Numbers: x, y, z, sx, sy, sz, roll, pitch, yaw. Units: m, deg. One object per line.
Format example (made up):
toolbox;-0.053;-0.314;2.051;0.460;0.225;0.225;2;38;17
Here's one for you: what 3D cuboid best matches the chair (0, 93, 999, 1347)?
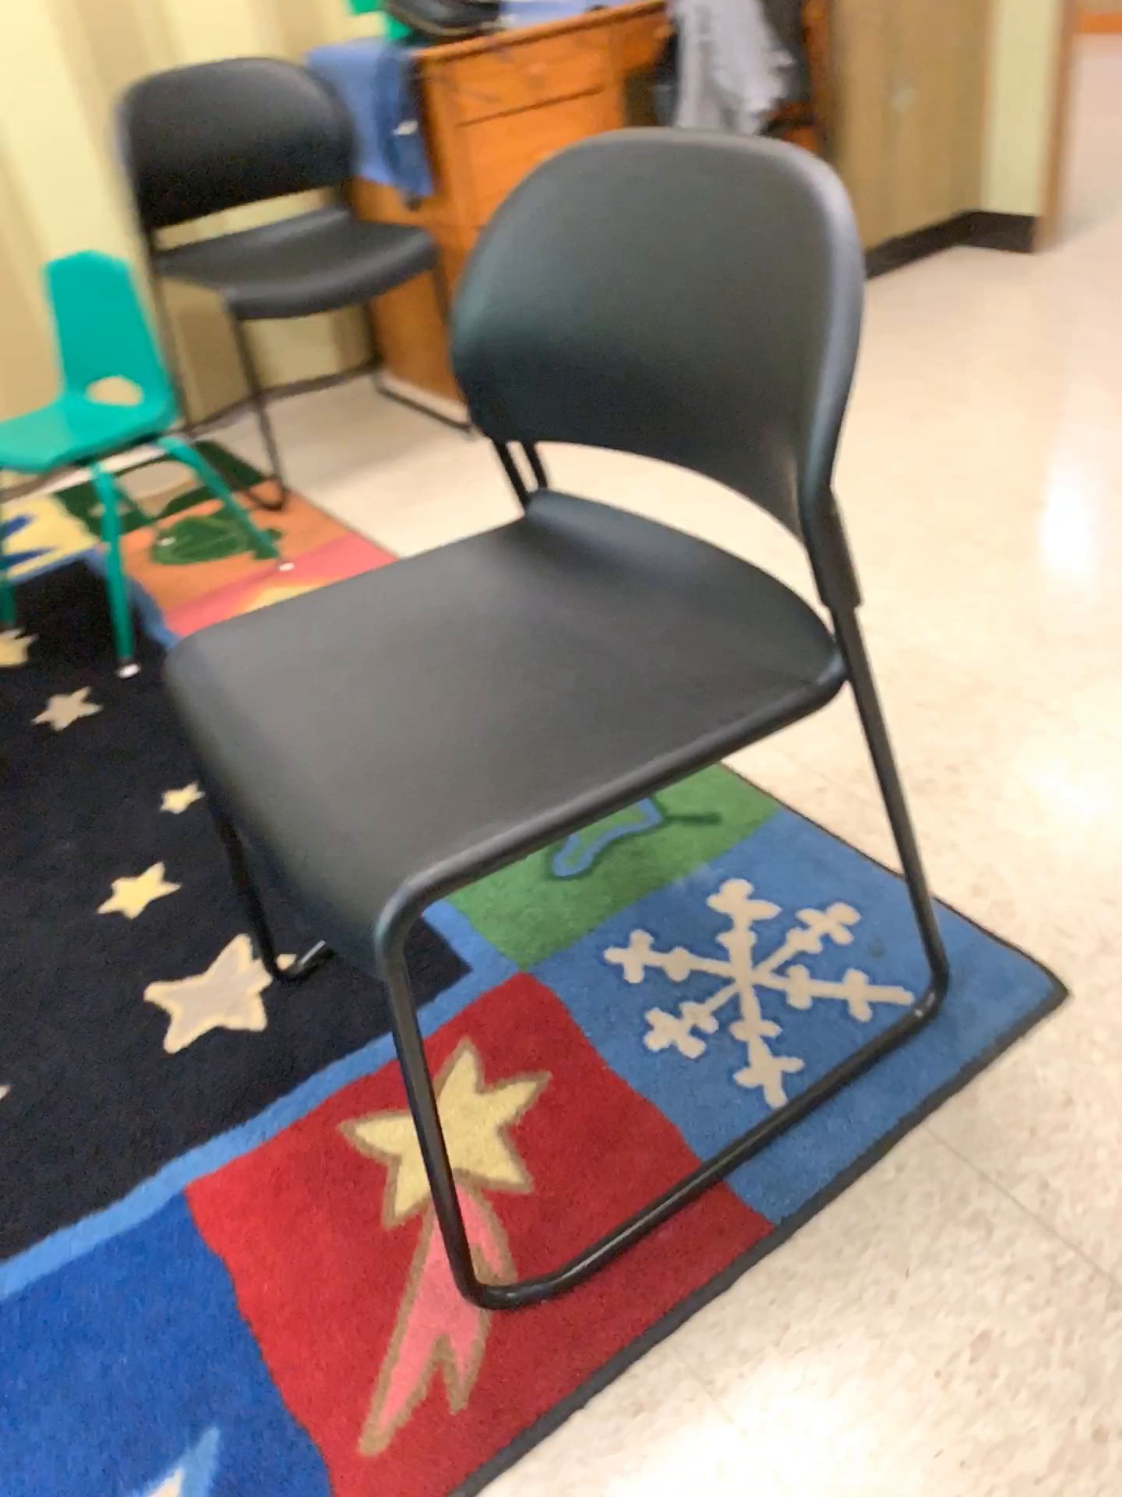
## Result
chair;-0.063;-0.073;1.009;0.531;0.785;0.573;-28;39;-24
